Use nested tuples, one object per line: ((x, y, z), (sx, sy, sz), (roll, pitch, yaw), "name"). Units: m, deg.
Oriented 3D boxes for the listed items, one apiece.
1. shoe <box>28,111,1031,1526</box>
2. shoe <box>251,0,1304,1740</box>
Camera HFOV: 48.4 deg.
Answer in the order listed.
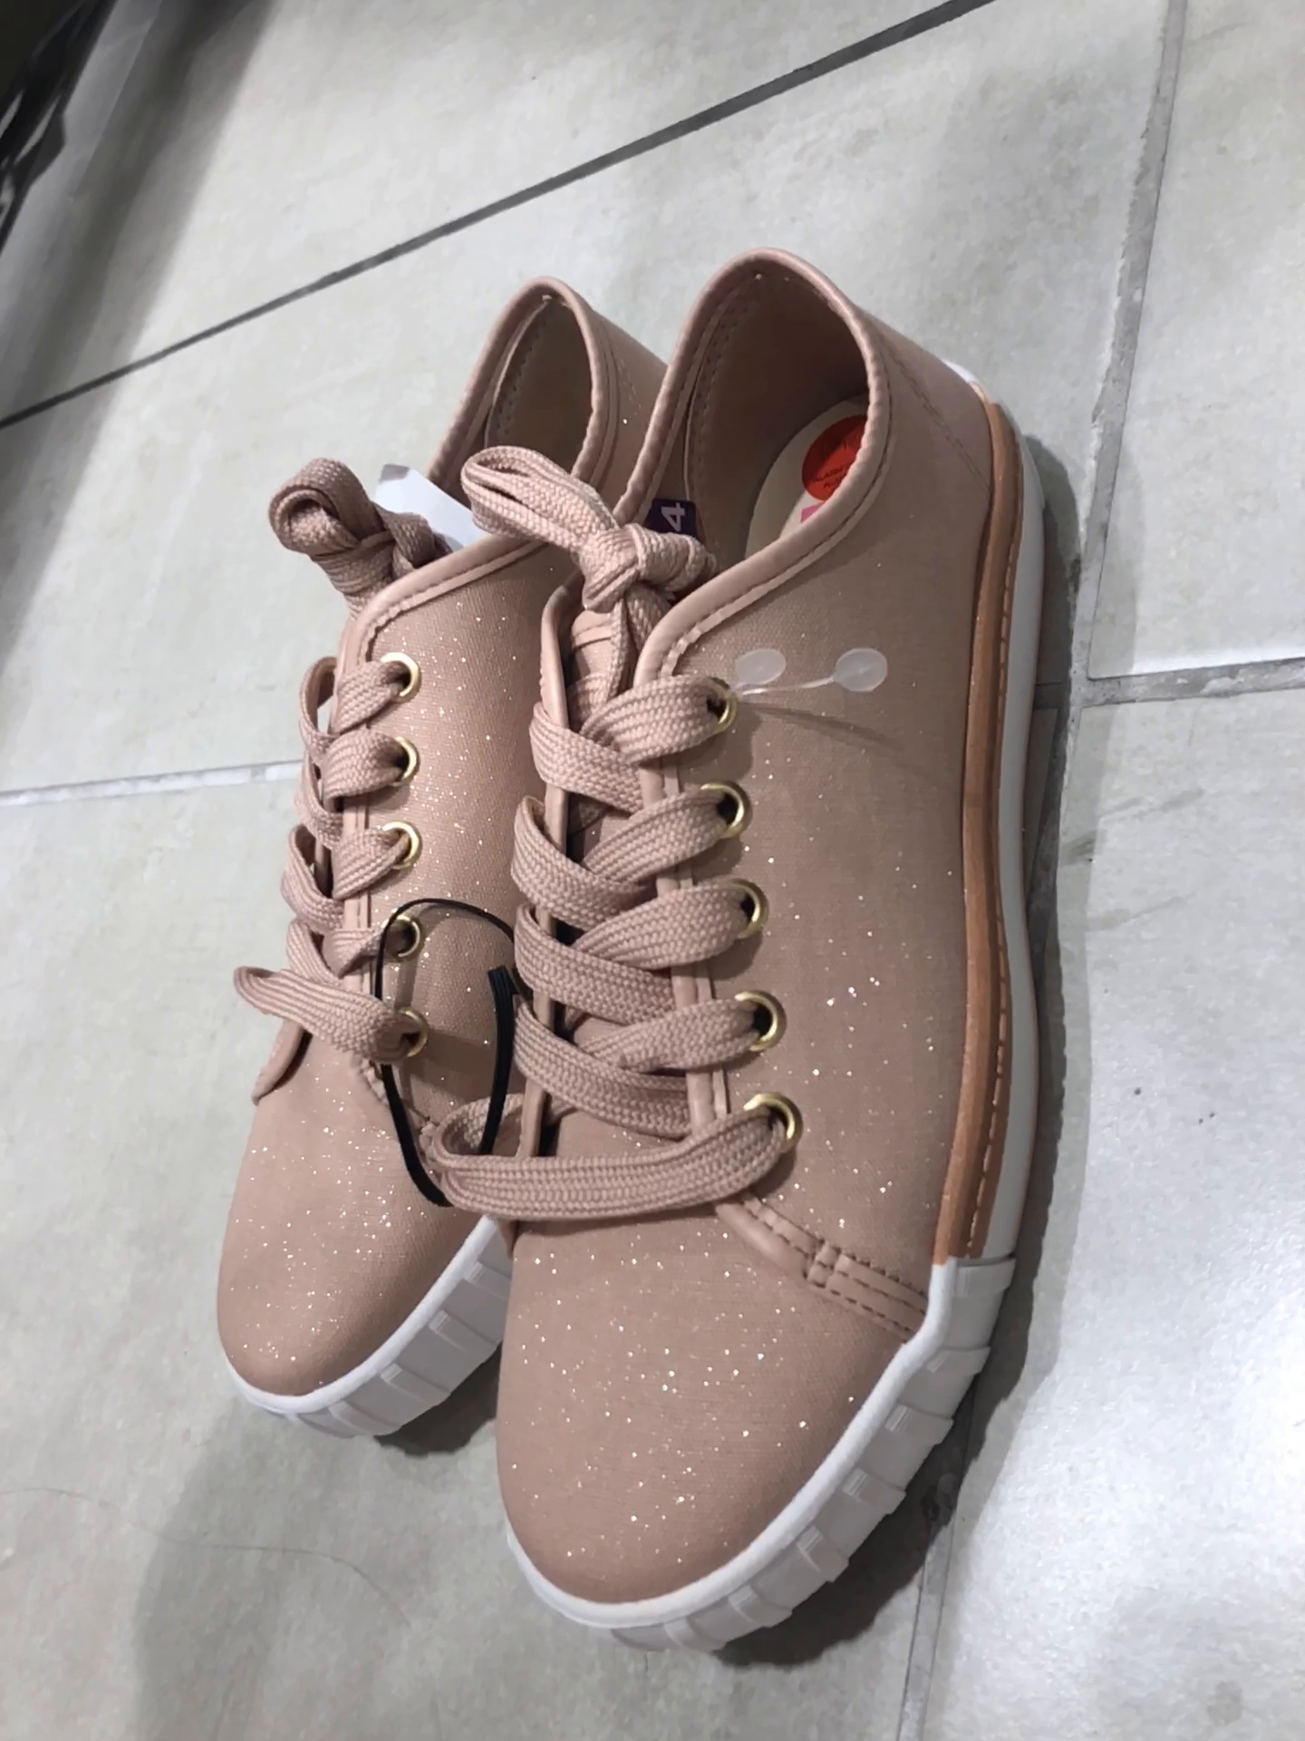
((-0.014, -0.010, 0.296), (0.090, 0.099, 0.240), (6, 72, 42), "shoe")
((0.039, 0.000, 0.232), (0.090, 0.099, 0.240), (-2, 67, 39), "shoe")
